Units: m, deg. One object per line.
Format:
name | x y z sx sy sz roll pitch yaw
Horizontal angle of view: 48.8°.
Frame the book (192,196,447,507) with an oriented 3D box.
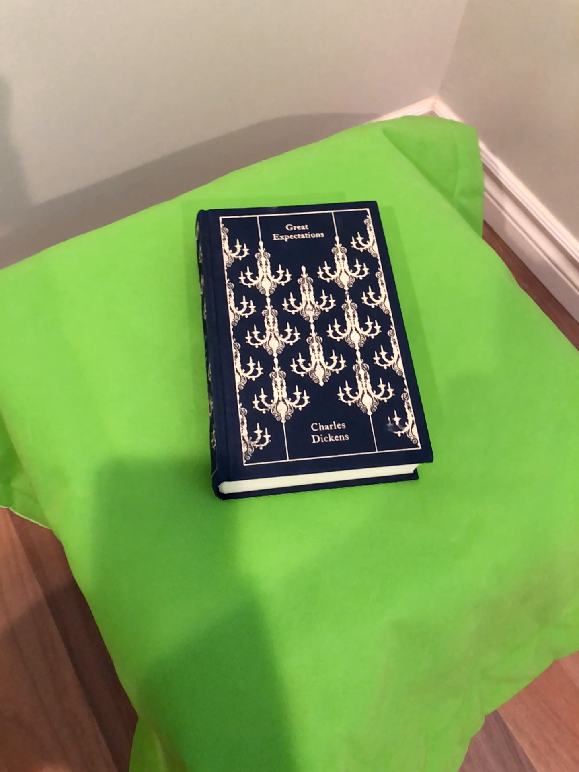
book | 0.011 -0.032 0.439 0.140 0.040 0.210 -5 65 -6
